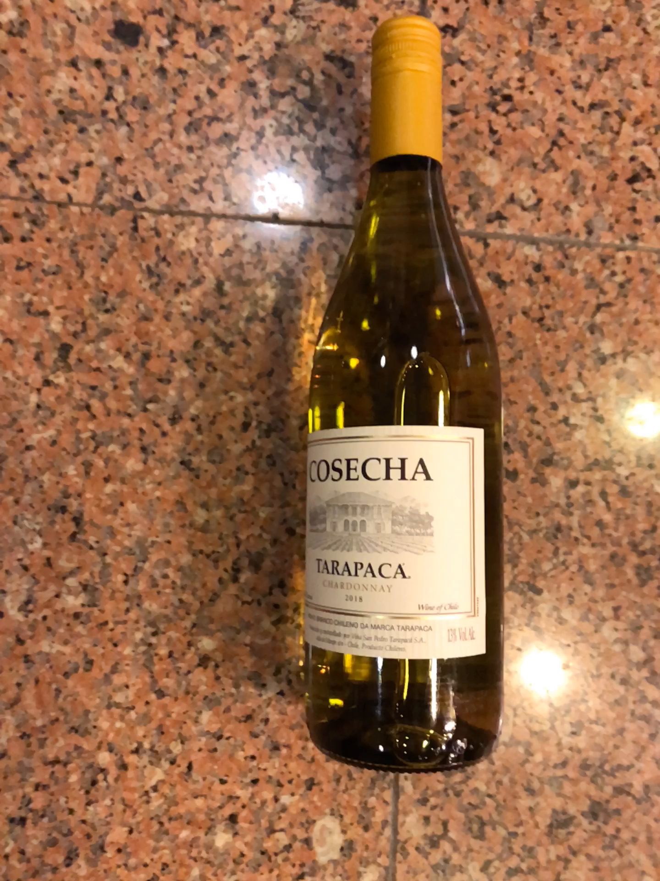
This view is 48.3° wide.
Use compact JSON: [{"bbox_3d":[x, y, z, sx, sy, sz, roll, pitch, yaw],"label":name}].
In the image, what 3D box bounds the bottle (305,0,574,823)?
[{"bbox_3d":[0.039,-0.036,0.305,0.090,0.070,0.340,1,85,-6],"label":"bottle"}]
